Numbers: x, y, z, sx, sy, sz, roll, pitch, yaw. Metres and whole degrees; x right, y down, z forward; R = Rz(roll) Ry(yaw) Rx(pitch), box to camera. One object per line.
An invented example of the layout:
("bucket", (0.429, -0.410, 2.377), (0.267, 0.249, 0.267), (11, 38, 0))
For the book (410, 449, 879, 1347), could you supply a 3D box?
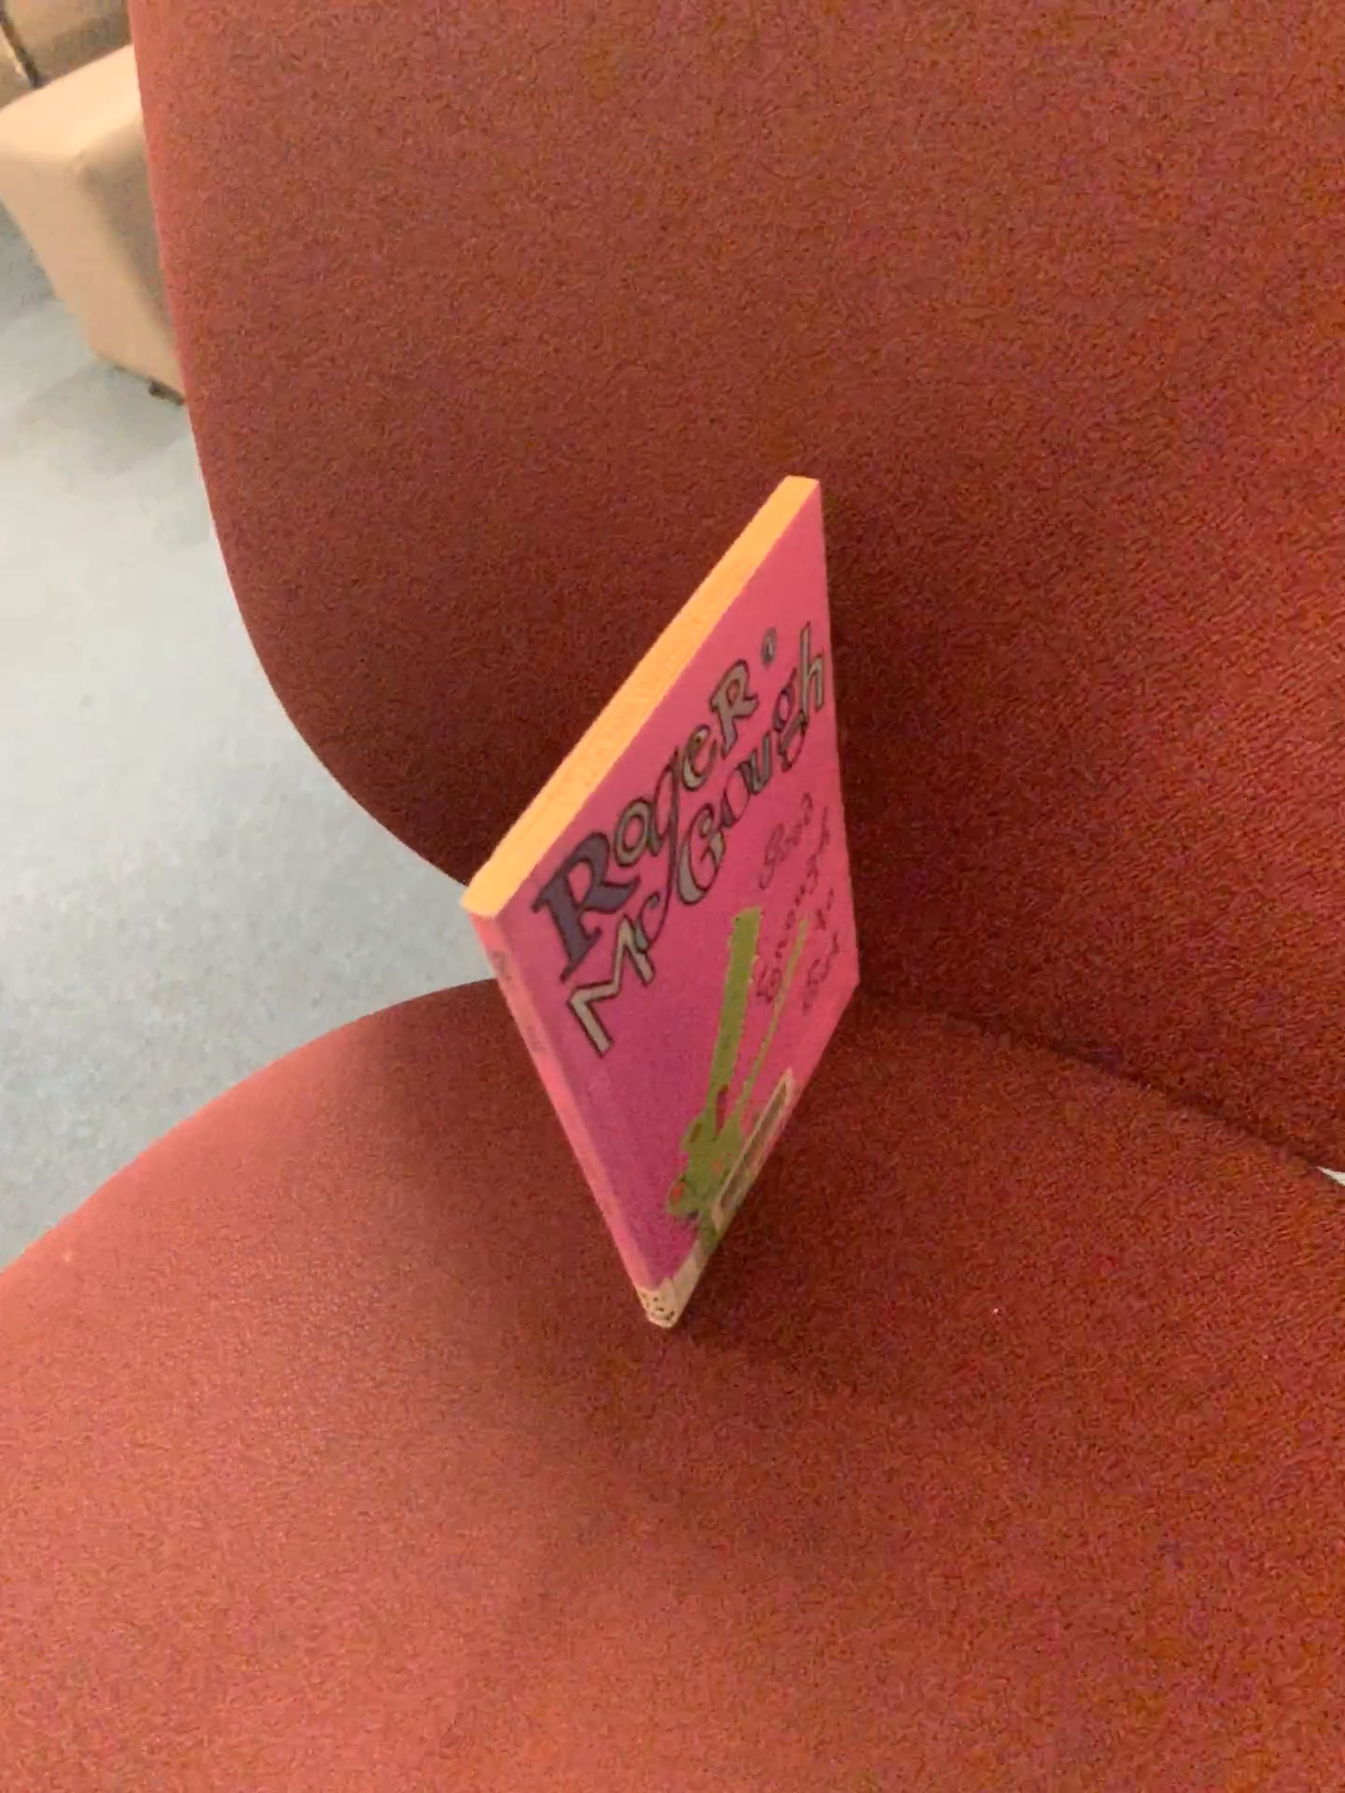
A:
("book", (0.010, 0.011, 0.346), (0.017, 0.189, 0.141), (20, 57, 25))
